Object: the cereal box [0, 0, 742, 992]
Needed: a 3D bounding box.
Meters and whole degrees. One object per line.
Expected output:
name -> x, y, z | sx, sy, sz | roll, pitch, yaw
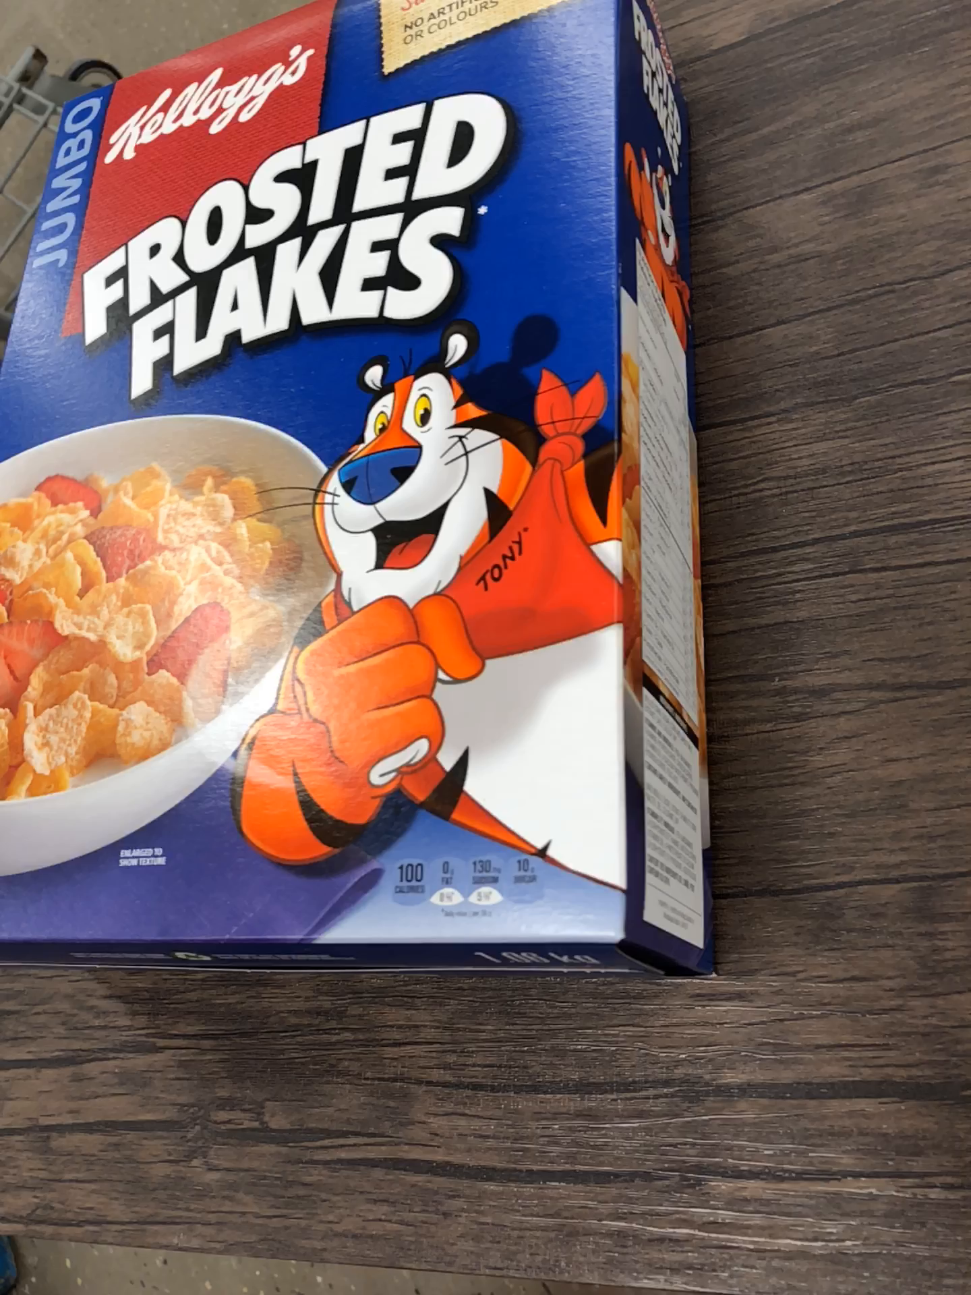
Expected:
cereal box -> -0.051, -0.081, 0.378 | 0.251, 0.100, 0.370 | -6, 66, 24
